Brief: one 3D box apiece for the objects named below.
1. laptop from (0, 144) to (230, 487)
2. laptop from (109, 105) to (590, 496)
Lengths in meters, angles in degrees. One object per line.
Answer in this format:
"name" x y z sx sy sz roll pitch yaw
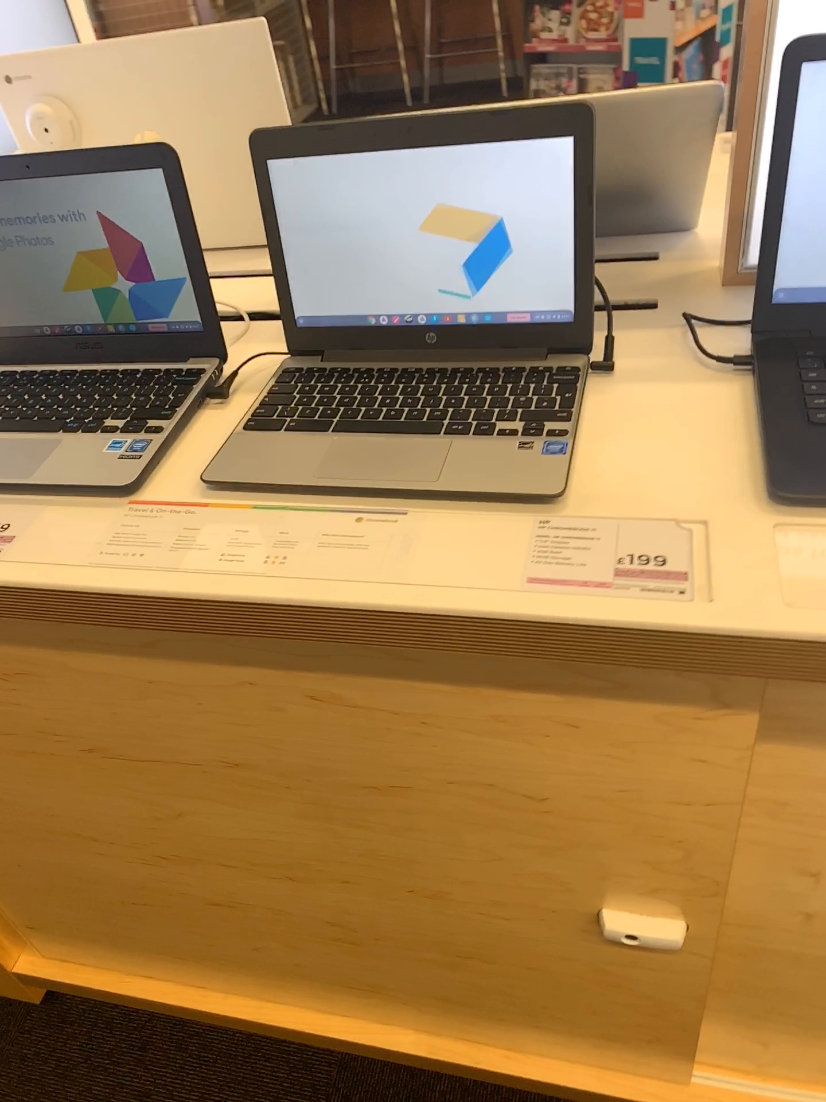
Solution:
"laptop" -0.350 -0.201 0.717 0.286 0.180 0.223 2 42 14
"laptop" -0.018 -0.190 0.636 0.277 0.185 0.230 3 41 16
